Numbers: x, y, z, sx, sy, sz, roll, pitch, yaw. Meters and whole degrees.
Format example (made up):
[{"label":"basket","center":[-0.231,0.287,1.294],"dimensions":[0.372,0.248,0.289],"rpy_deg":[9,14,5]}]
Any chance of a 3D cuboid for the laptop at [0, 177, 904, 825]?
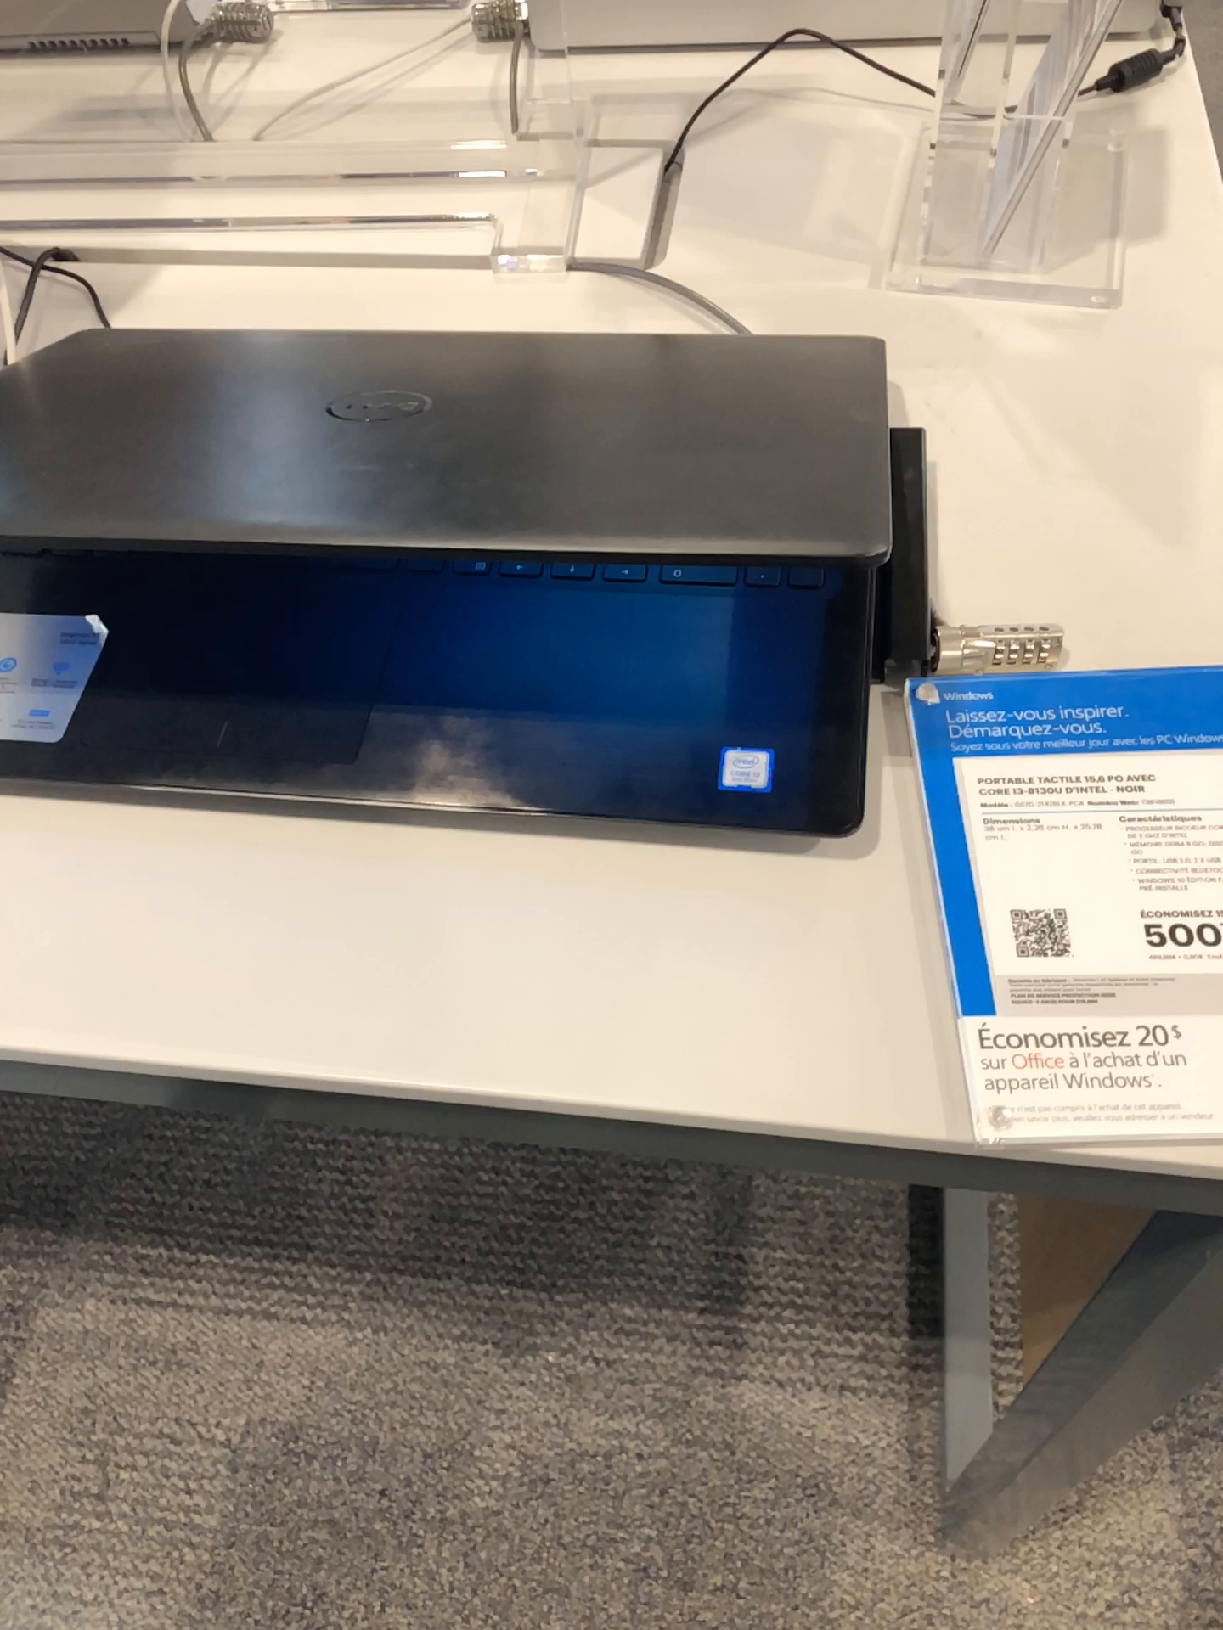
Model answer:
[{"label":"laptop","center":[-0.085,-0.132,0.505],"dimensions":[0.365,0.080,0.245],"rpy_deg":[5,55,7]}]
